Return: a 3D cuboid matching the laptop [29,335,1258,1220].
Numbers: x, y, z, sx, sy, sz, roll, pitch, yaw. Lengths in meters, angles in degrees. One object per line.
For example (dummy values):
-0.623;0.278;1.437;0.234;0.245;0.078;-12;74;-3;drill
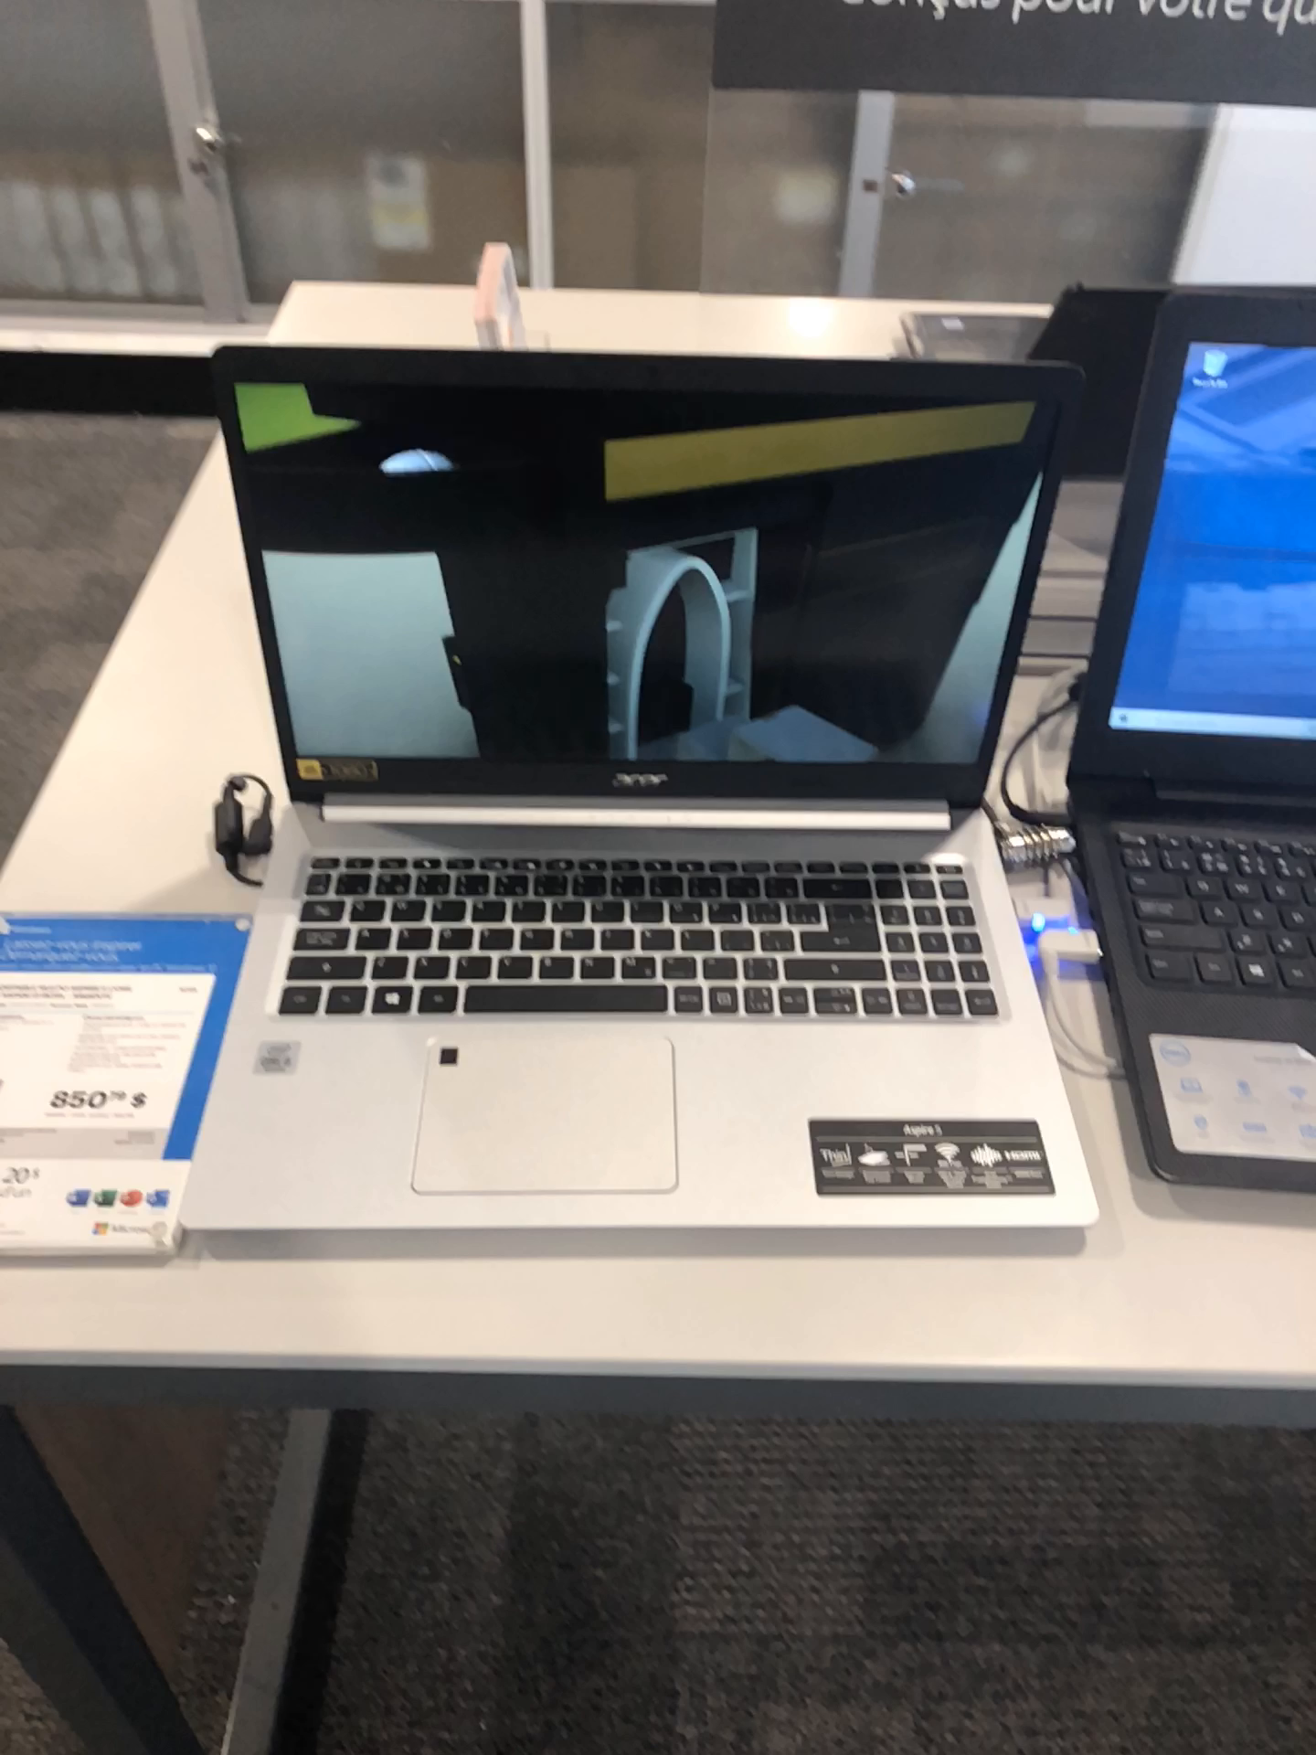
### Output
-0.008;-0.045;0.583;0.349;0.229;0.268;0;44;-1;laptop
